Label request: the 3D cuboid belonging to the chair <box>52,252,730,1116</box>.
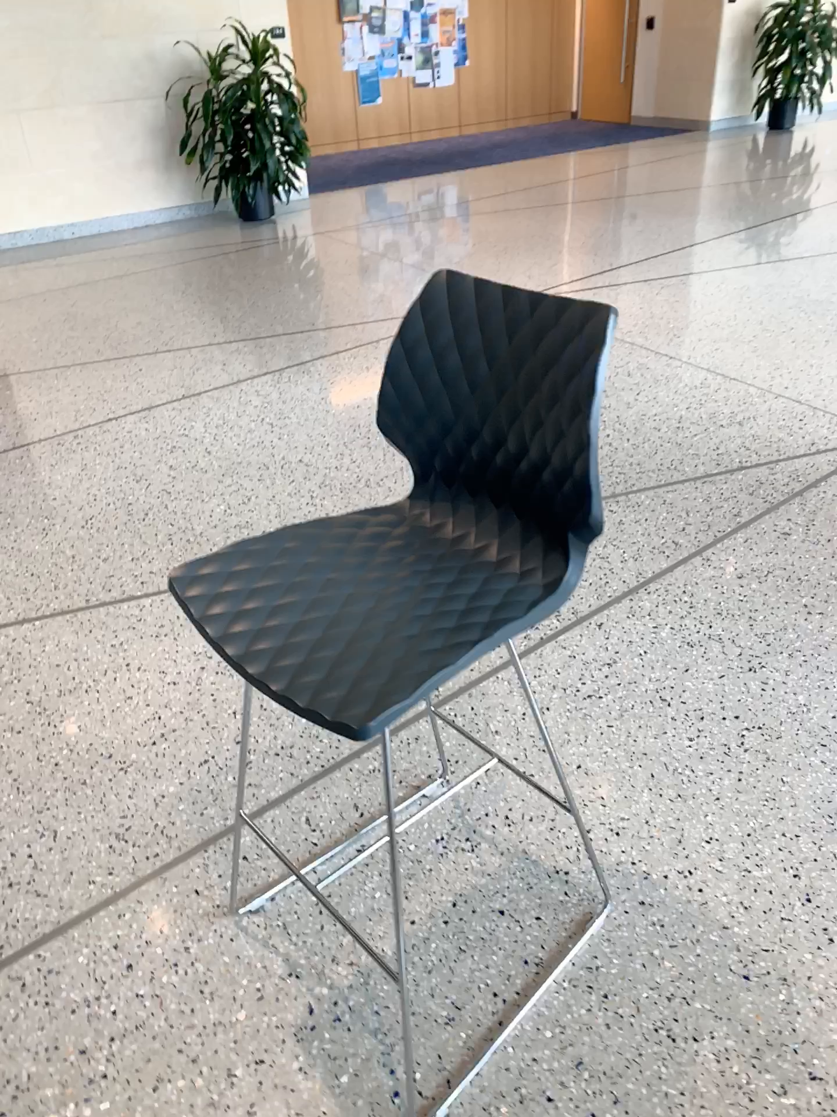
[{"bbox_3d":[-0.019,0.193,1.230,0.548,1.048,0.534,-25,38,-31],"label":"chair"}]
